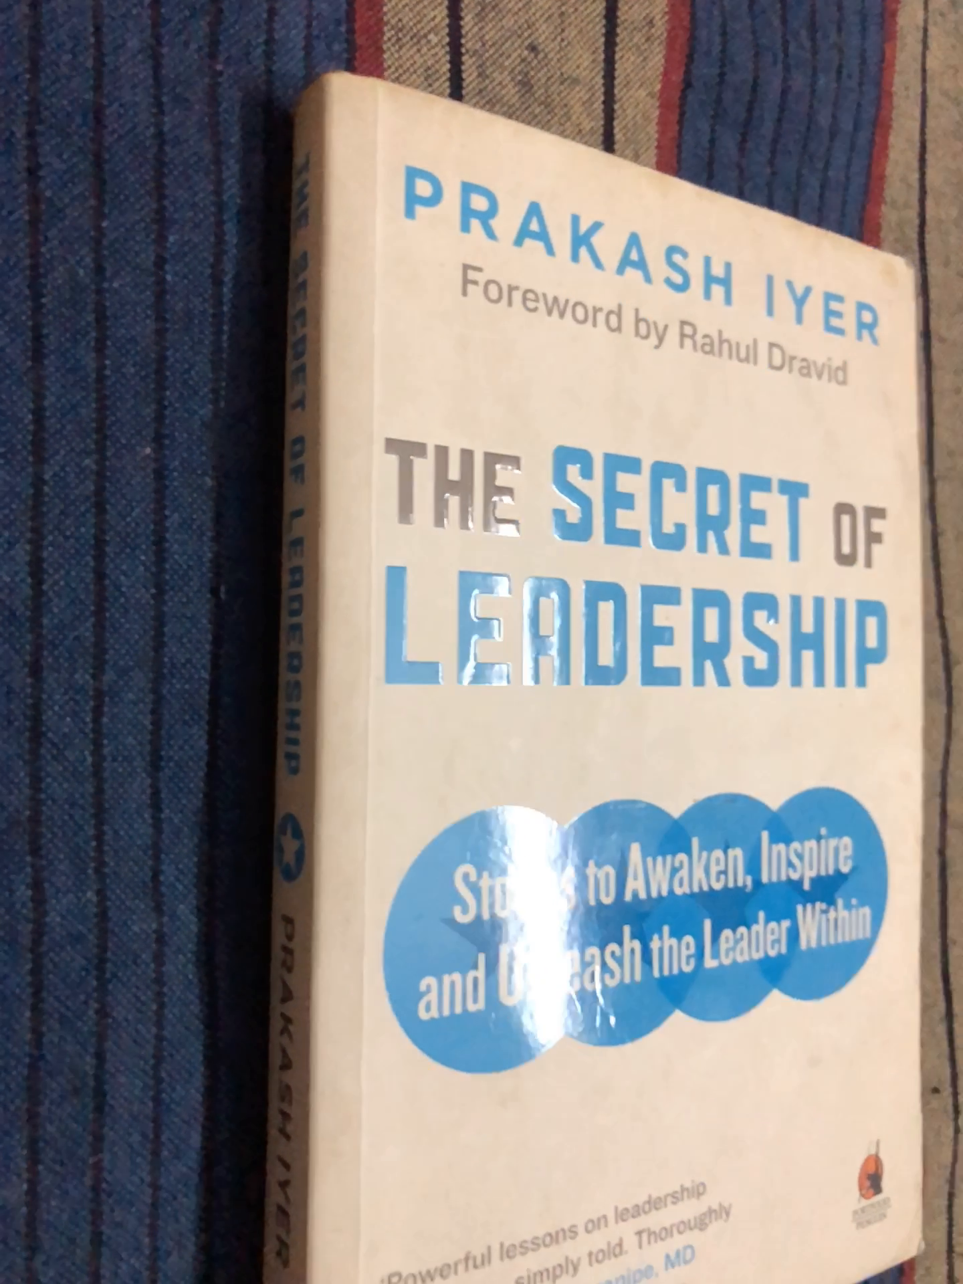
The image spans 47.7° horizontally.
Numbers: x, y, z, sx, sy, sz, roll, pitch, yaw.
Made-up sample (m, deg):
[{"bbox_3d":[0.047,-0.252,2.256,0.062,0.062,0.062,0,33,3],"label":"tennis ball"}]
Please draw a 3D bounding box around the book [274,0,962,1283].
[{"bbox_3d":[0.038,0.012,0.180,0.141,0.030,0.190,2,86,-34],"label":"book"}]
